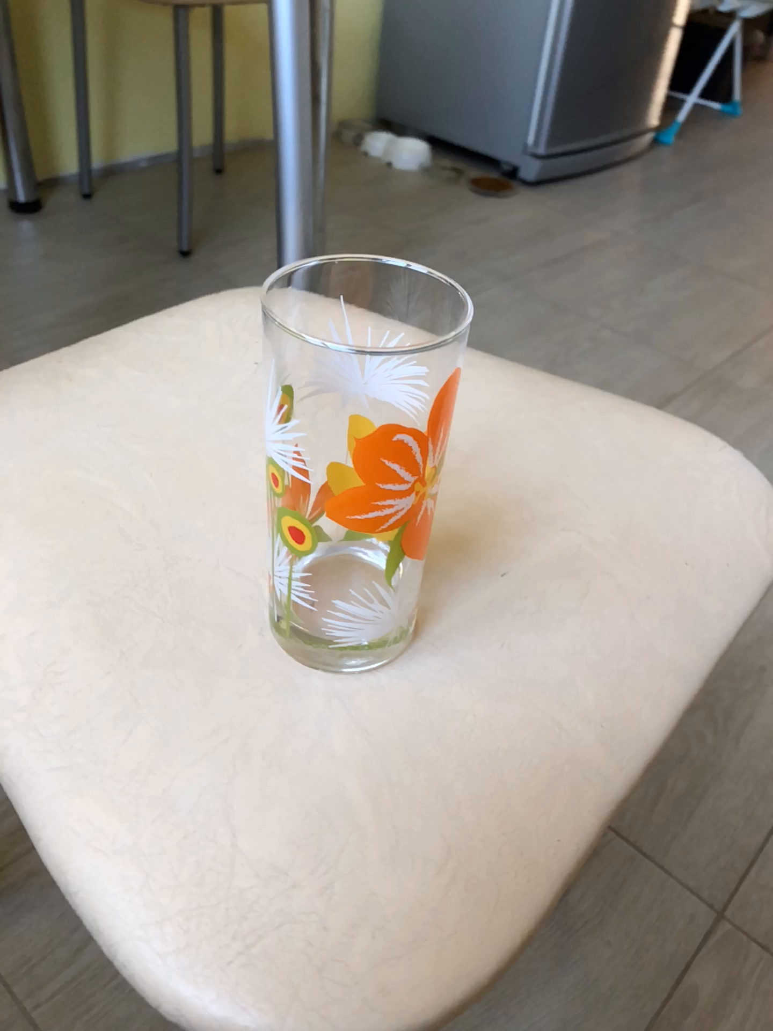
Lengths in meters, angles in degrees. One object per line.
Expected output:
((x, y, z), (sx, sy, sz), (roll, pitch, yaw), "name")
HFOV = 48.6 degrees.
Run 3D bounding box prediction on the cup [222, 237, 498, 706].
((-0.011, -0.011, 0.285), (0.063, 0.133, 0.061), (4, 39, -4), "cup")
